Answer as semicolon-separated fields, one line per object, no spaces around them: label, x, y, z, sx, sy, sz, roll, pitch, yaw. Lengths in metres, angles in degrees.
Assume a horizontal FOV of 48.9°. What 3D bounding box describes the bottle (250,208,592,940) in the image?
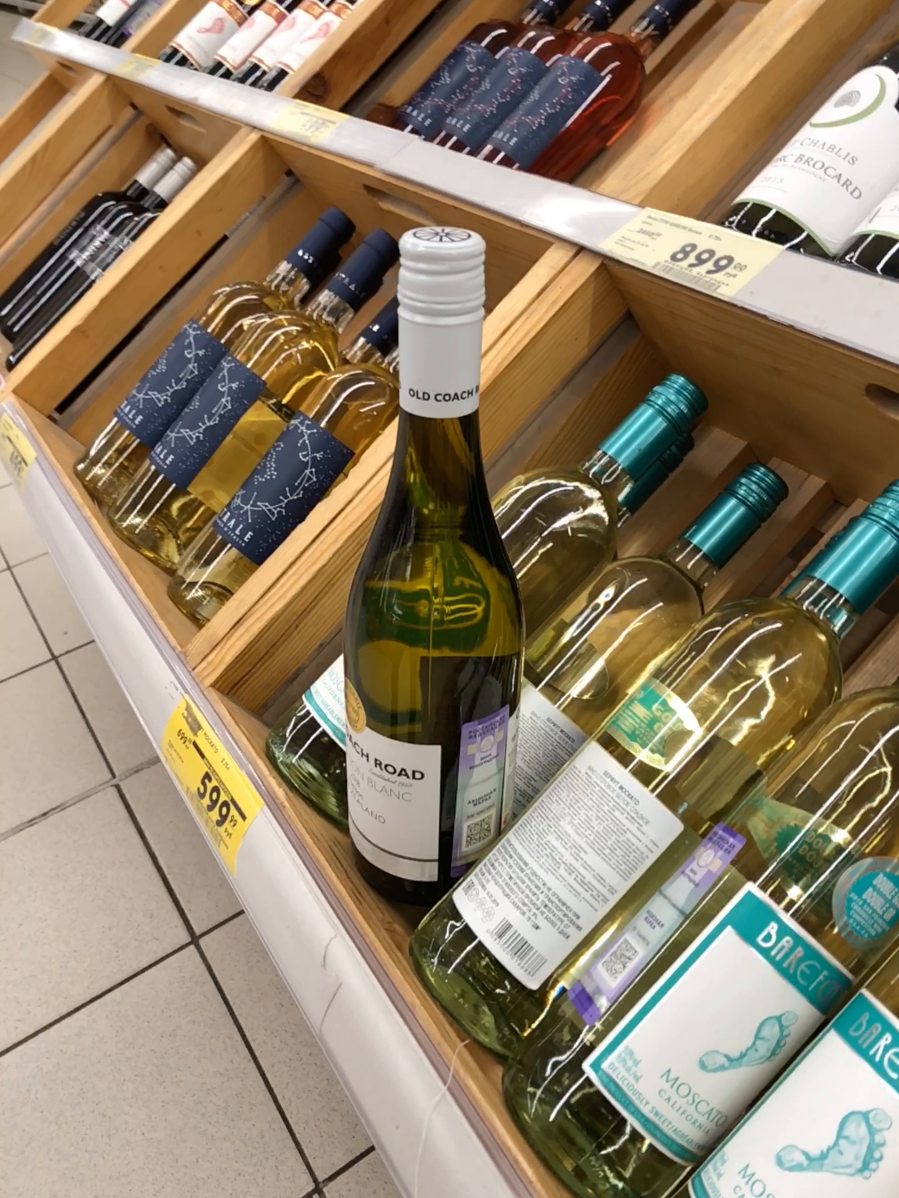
bottle;-0.009;0.003;0.413;0.088;0.290;0.078;-20;38;-25
